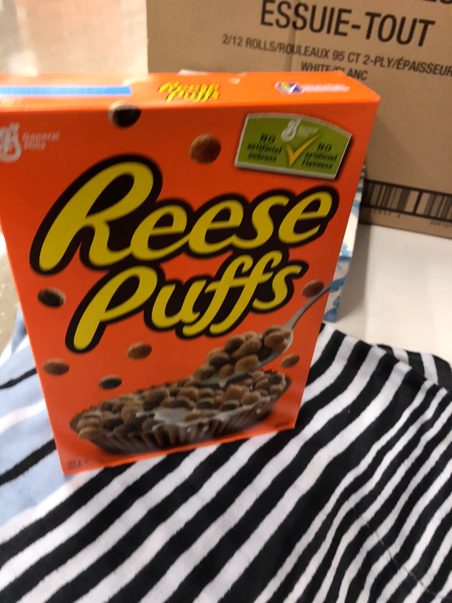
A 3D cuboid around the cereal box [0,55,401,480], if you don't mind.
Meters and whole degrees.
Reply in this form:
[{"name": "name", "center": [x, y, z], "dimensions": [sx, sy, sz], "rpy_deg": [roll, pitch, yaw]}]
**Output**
[{"name": "cereal box", "center": [-0.030, -0.003, 0.317], "dimensions": [0.210, 0.269, 0.040], "rpy_deg": [-8, 41, -14]}]
